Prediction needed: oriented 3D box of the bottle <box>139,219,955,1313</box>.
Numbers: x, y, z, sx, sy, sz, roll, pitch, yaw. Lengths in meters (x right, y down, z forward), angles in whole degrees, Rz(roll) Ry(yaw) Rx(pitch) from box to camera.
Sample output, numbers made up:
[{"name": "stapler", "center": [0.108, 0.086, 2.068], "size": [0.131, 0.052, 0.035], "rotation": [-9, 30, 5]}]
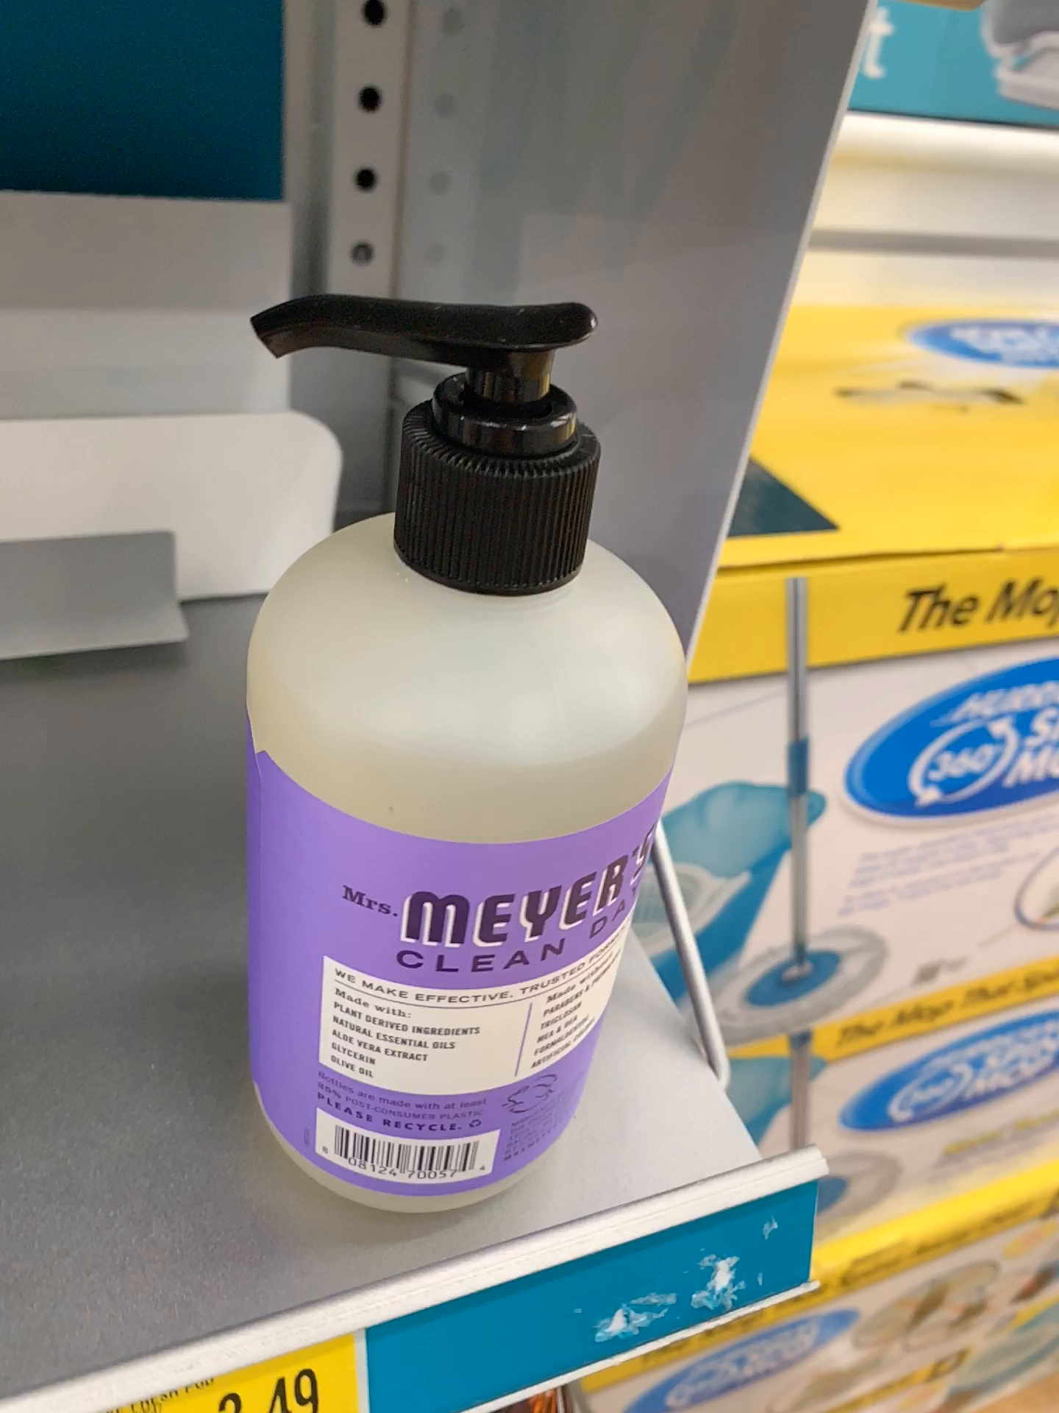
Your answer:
[{"name": "bottle", "center": [-0.010, 0.012, 0.187], "size": [0.080, 0.159, 0.070], "rotation": [-13, 41, -28]}]
